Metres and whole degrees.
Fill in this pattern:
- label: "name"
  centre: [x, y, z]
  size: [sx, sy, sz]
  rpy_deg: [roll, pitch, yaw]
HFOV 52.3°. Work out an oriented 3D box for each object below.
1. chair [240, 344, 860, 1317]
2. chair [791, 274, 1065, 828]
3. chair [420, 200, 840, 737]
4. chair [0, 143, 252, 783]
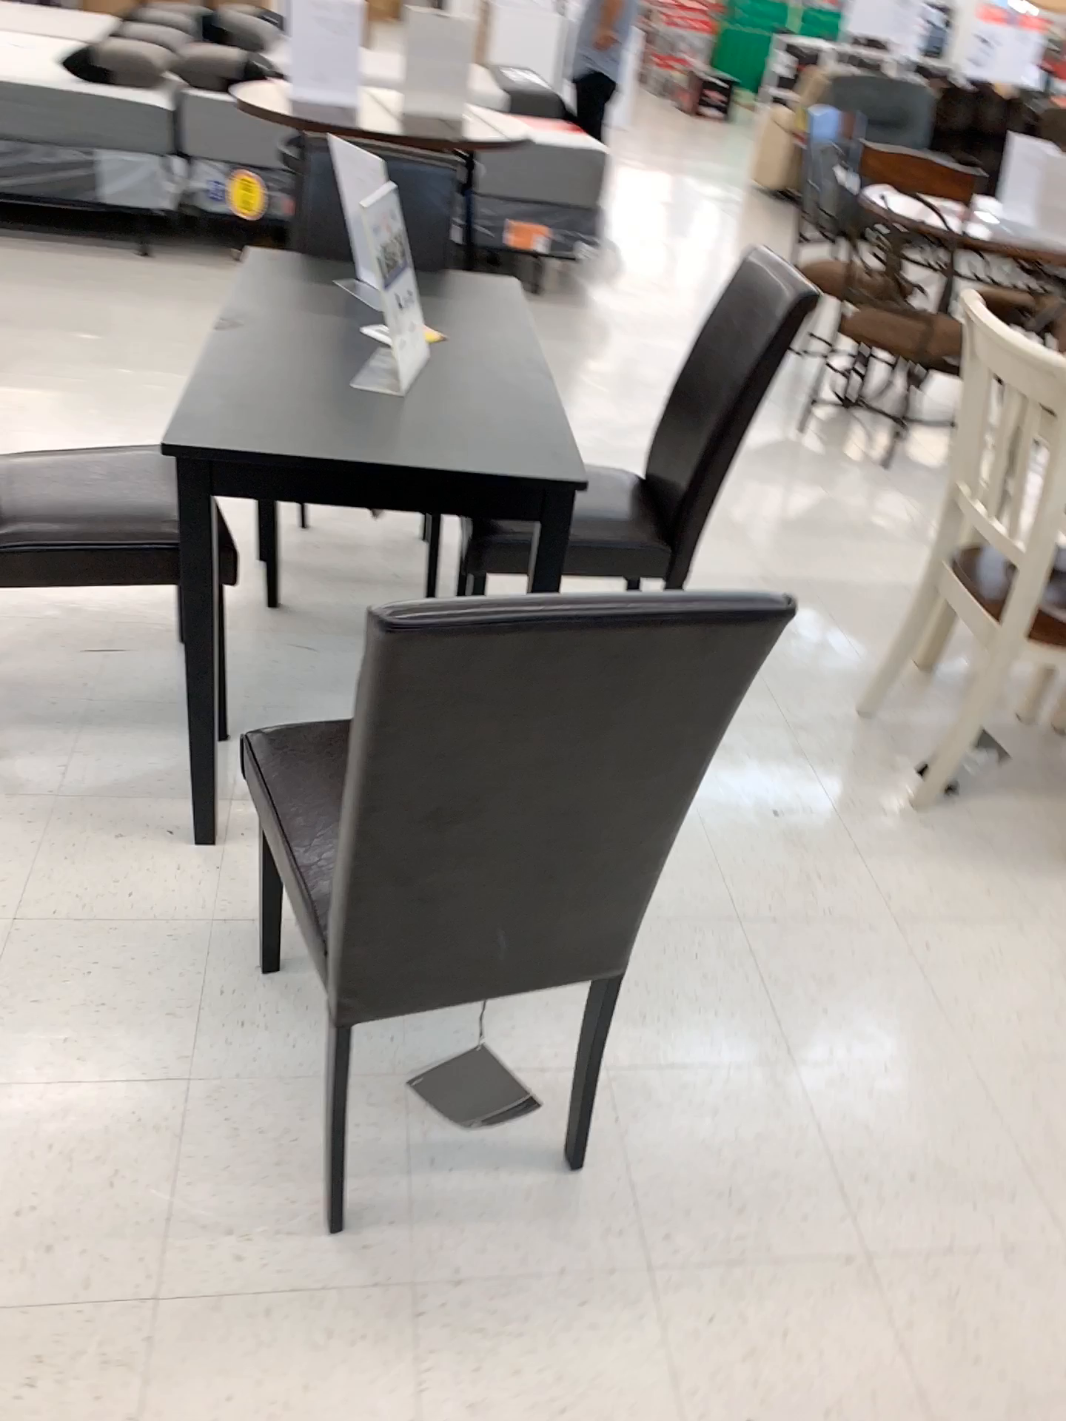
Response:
- label: "chair"
  centre: [-0.094, 0.137, 1.291]
  size: [0.424, 0.930, 0.597]
  rpy_deg: [-4, 37, -20]
- label: "chair"
  centre: [1.037, -0.284, 2.173]
  size: [0.664, 0.950, 0.466]
  rpy_deg: [1, 35, -13]
- label: "chair"
  centre: [0.126, -0.448, 2.187]
  size: [0.594, 0.930, 0.416]
  rpy_deg: [1, 35, -13]
- label: "chair"
  centre: [-0.835, -0.408, 1.890]
  size: [0.595, 0.930, 0.416]
  rpy_deg: [-8, 38, -24]
